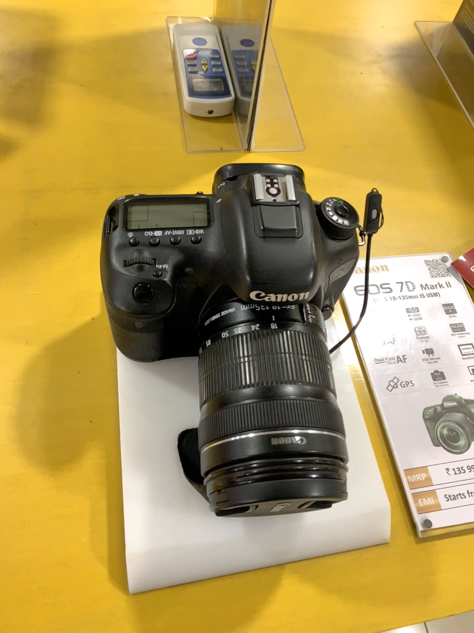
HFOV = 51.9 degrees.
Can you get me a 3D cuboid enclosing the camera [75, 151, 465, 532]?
[{"bbox_3d":[0.001,0.016,0.262,0.140,0.120,0.160,-2,61,-8],"label":"camera"}]
